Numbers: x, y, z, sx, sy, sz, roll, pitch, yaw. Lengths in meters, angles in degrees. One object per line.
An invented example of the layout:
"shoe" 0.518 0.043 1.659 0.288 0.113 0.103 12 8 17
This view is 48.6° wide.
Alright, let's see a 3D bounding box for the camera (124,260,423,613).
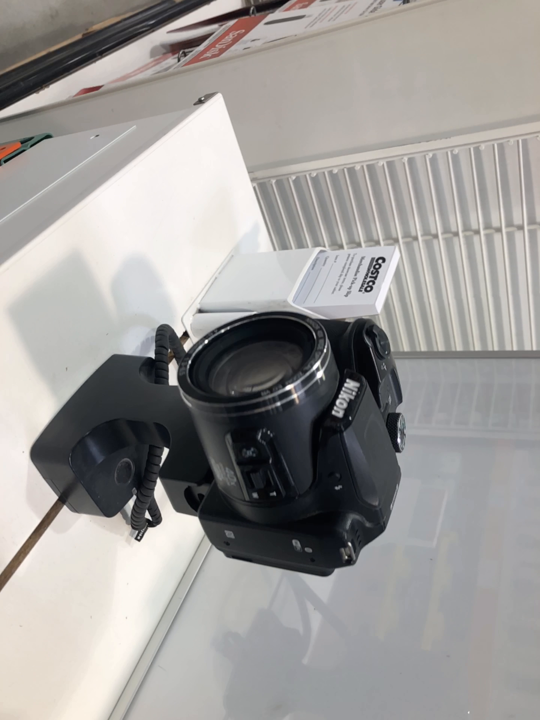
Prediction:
"camera" 0.014 0.031 0.279 0.116 0.079 0.101 -63 143 -42
